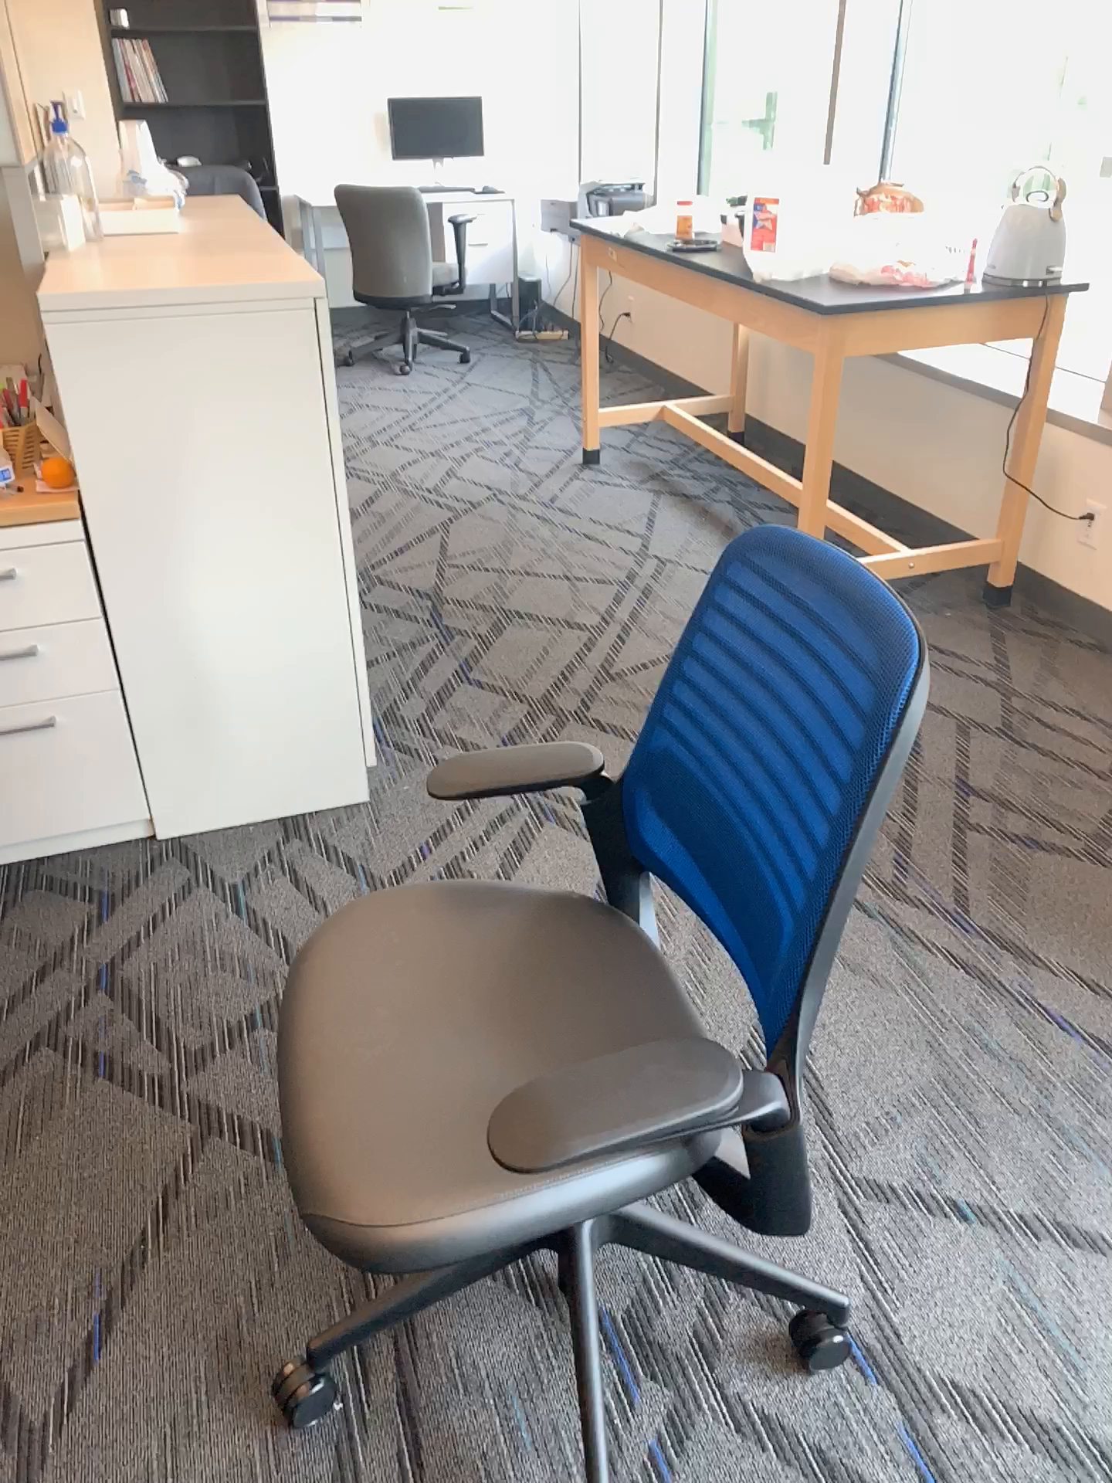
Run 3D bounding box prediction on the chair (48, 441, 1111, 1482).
[{"bbox_3d":[-0.022,0.263,1.142,0.681,0.883,0.705,-10,31,-15],"label":"chair"}]
